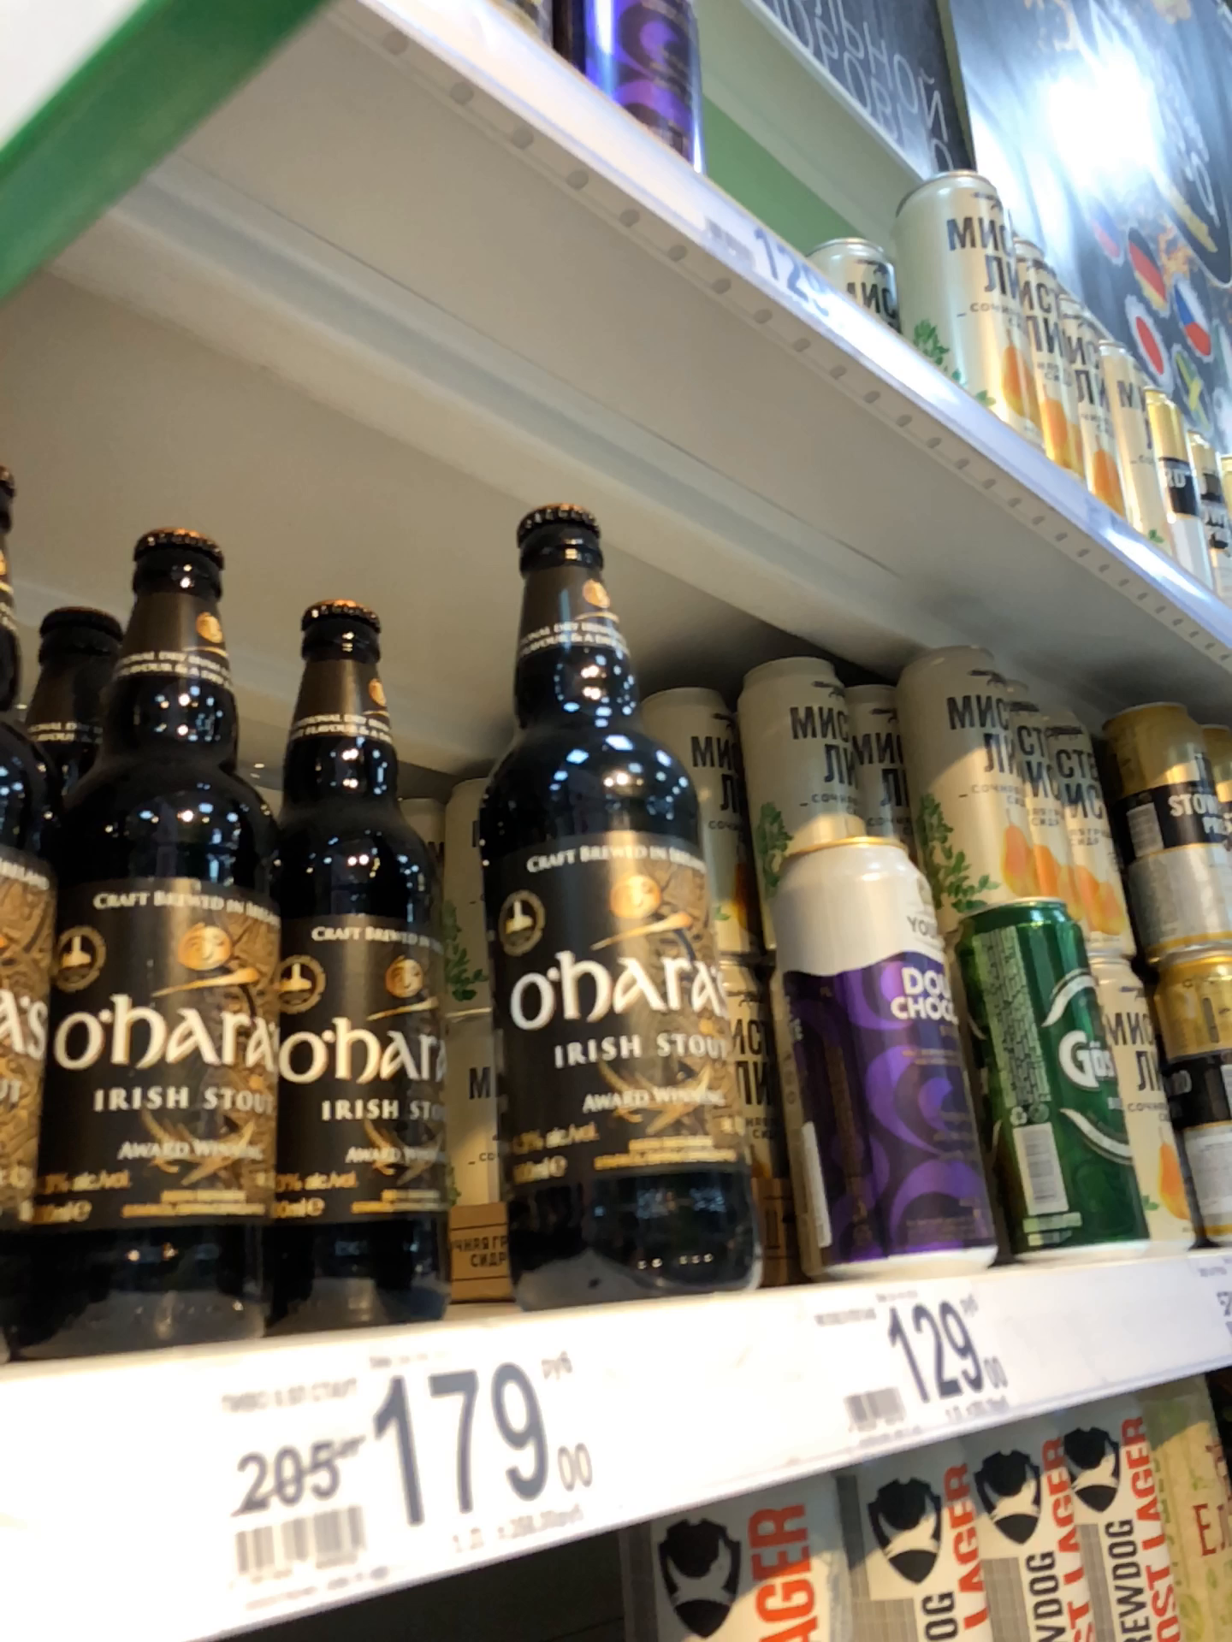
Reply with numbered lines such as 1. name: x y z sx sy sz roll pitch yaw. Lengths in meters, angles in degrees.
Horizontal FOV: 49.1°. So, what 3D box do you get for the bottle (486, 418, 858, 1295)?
1. bottle: 0.009 0.010 0.397 0.070 0.241 0.070 -3 -19 -1
